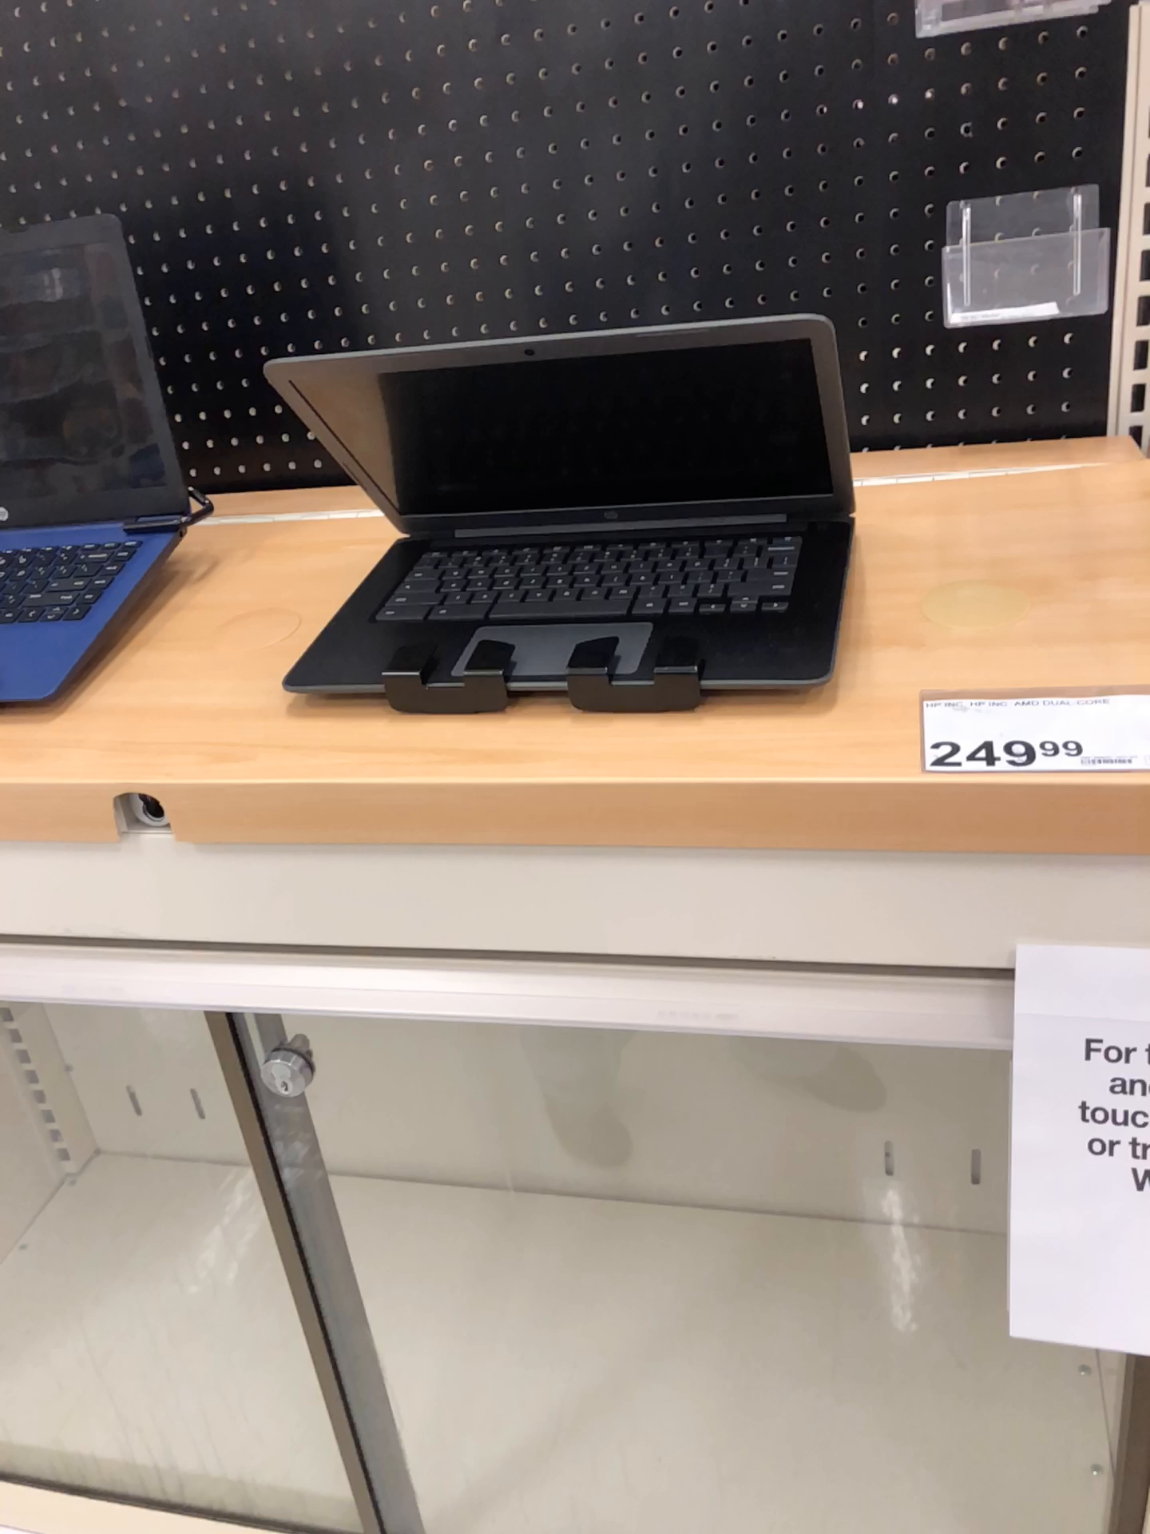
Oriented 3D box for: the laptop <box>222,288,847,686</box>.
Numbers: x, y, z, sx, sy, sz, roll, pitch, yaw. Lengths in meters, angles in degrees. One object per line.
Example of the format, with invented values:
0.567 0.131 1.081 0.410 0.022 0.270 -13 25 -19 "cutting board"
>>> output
-0.008 -0.169 0.758 0.319 0.144 0.201 1 33 16 "laptop"
